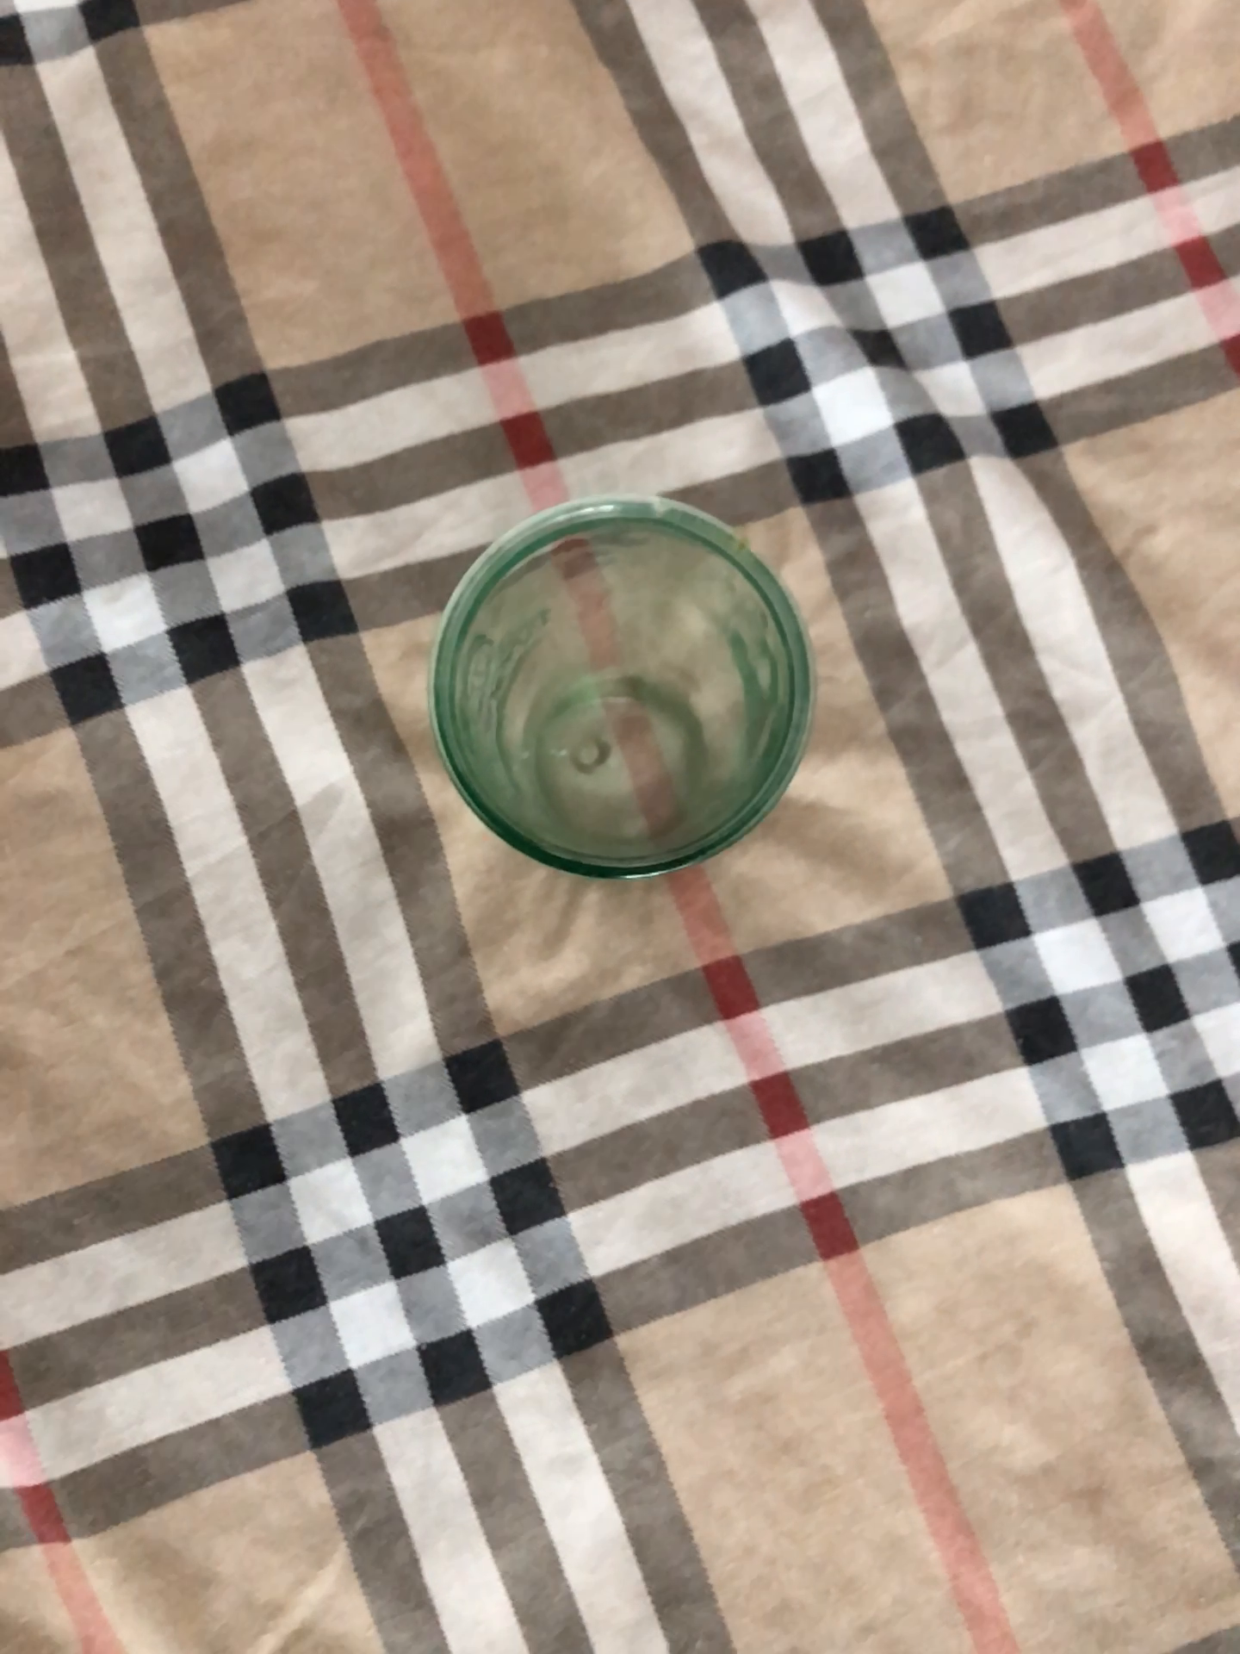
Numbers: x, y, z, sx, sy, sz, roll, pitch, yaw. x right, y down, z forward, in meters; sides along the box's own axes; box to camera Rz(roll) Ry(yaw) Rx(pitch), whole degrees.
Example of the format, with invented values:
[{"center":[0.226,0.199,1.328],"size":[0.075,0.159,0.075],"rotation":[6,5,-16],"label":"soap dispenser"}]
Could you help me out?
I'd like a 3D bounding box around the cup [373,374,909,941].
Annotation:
[{"center":[0.002,-0.029,0.320],"size":[0.082,0.112,0.085],"rotation":[0,82,-3],"label":"cup"}]
